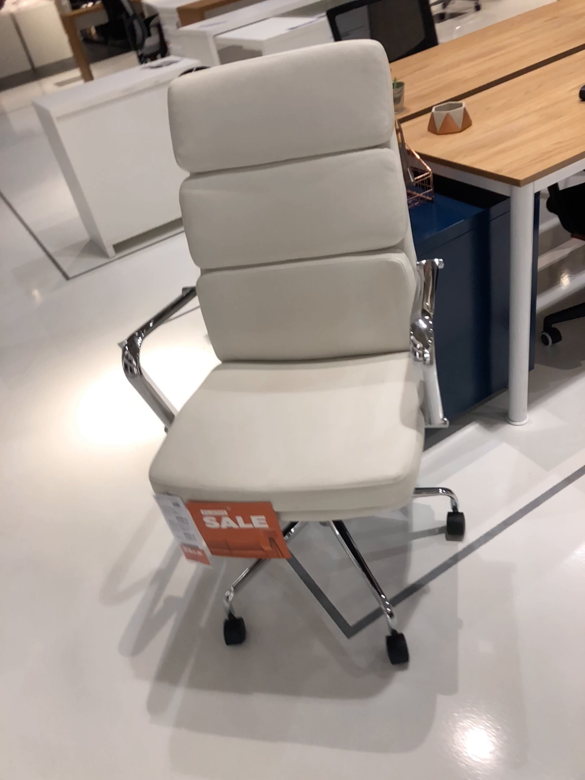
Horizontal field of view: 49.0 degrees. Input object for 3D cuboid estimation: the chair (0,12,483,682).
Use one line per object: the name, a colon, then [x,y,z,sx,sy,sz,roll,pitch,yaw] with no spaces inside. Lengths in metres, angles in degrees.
chair: [0.001,-0.039,1.244,0.660,1.011,0.655,-2,38,16]
